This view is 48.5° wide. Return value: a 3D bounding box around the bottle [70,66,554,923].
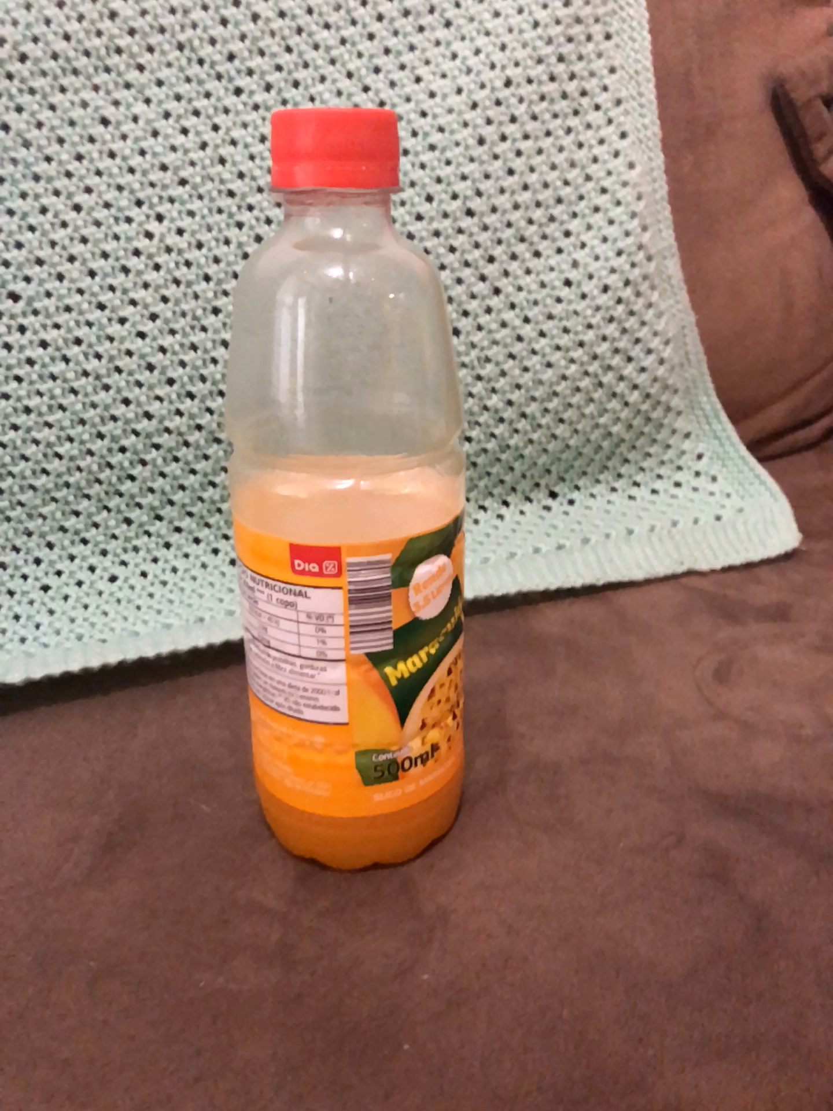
[{"bbox_3d":[-0.020,-0.018,0.255,0.080,0.199,0.080,-2,23,1],"label":"bottle"}]
